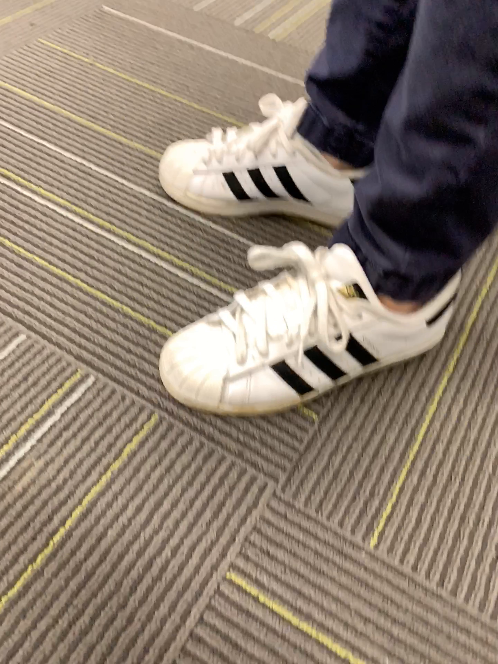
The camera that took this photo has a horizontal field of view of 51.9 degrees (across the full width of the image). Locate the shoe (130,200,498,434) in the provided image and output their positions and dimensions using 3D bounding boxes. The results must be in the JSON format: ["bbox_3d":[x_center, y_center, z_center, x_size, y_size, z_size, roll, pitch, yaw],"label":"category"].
[{"bbox_3d":[0.051,-0.015,0.396,0.262,0.104,0.108,-8,55,-11],"label":"shoe"}]

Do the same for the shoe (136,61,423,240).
[{"bbox_3d":[0.029,-0.186,0.529,0.258,0.104,0.106,7,53,0],"label":"shoe"}]
